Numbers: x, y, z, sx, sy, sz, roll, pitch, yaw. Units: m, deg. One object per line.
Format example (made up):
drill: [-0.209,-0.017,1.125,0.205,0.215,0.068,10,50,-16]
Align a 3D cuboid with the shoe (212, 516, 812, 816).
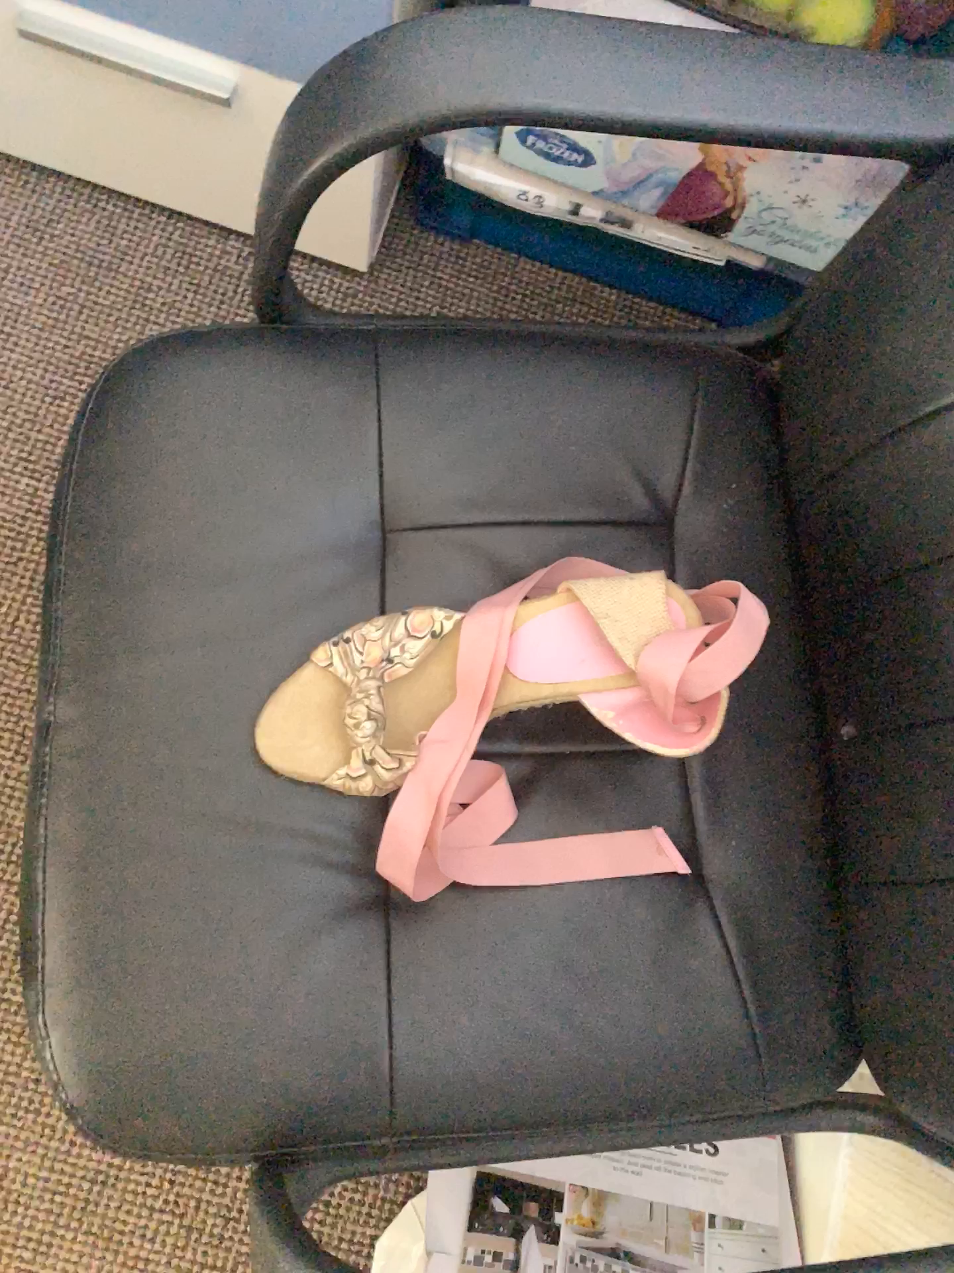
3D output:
shoe: [0.011,0.021,0.521,0.270,0.140,0.100,-8,80,-10]
